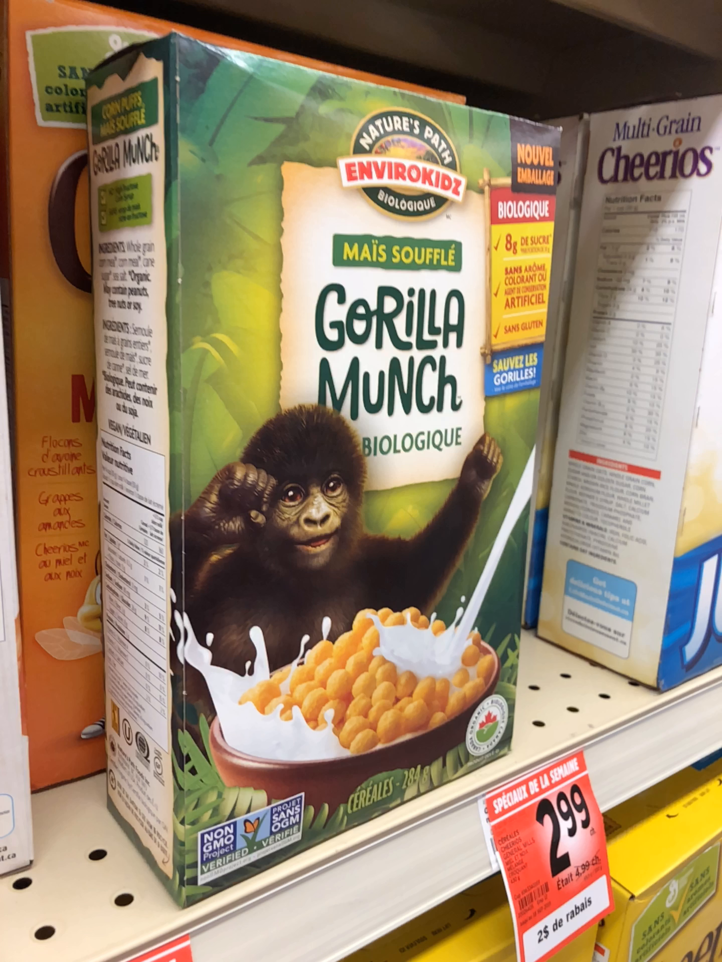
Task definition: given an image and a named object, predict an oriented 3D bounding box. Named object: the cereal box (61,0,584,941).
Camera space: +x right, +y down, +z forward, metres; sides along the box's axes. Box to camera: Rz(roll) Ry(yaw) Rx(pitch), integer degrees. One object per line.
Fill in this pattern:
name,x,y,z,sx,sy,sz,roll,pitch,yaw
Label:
cereal box,-0.012,-0.002,0.283,0.160,0.259,0.060,-8,18,-38
